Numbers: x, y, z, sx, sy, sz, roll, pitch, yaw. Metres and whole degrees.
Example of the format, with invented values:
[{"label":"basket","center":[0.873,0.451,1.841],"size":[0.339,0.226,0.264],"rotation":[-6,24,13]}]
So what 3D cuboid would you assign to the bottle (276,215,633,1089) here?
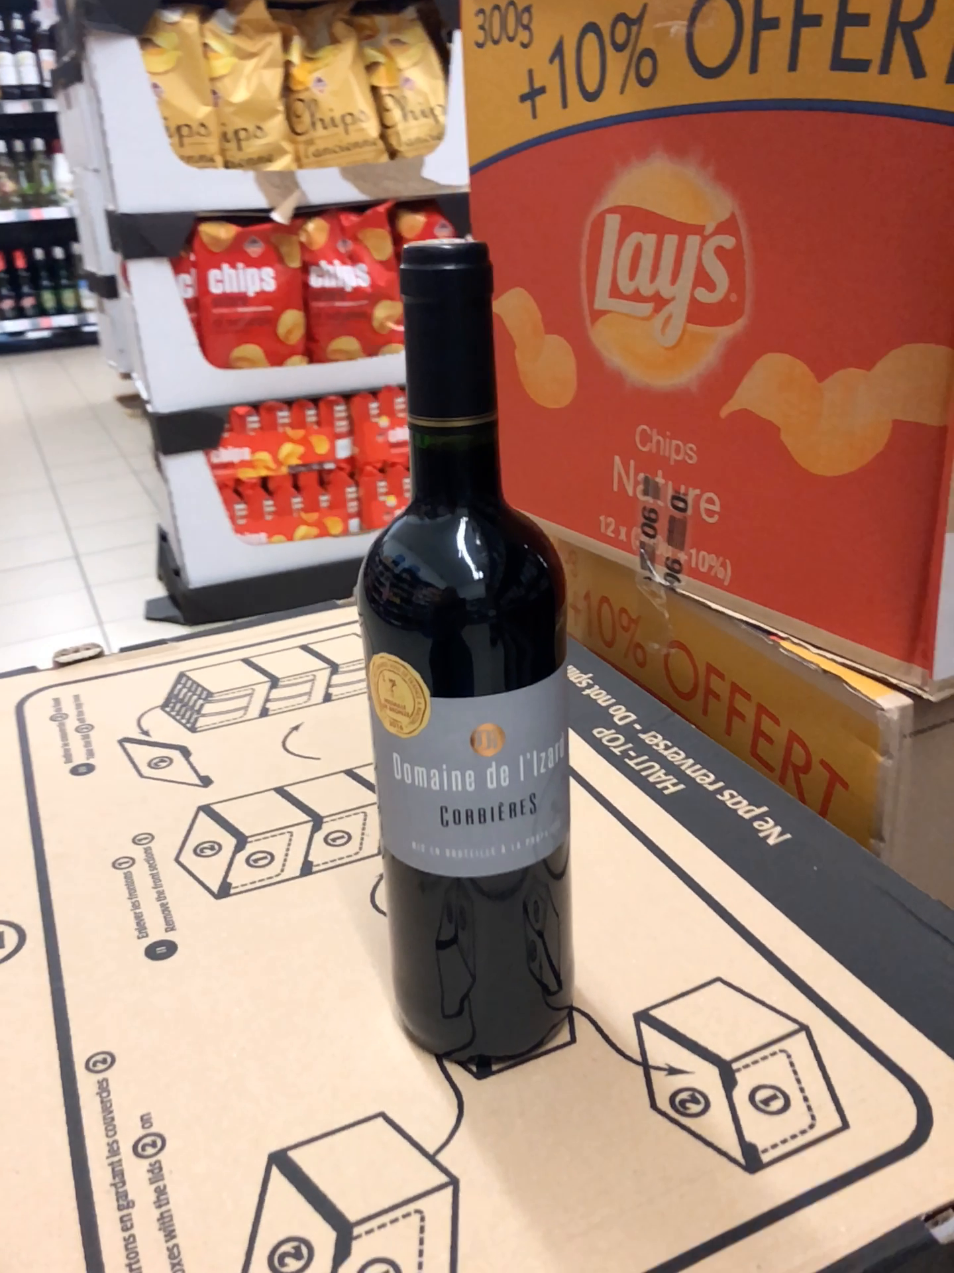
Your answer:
[{"label":"bottle","center":[-0.002,0.010,0.360],"size":[0.090,0.279,0.090],"rotation":[-3,24,1]}]
